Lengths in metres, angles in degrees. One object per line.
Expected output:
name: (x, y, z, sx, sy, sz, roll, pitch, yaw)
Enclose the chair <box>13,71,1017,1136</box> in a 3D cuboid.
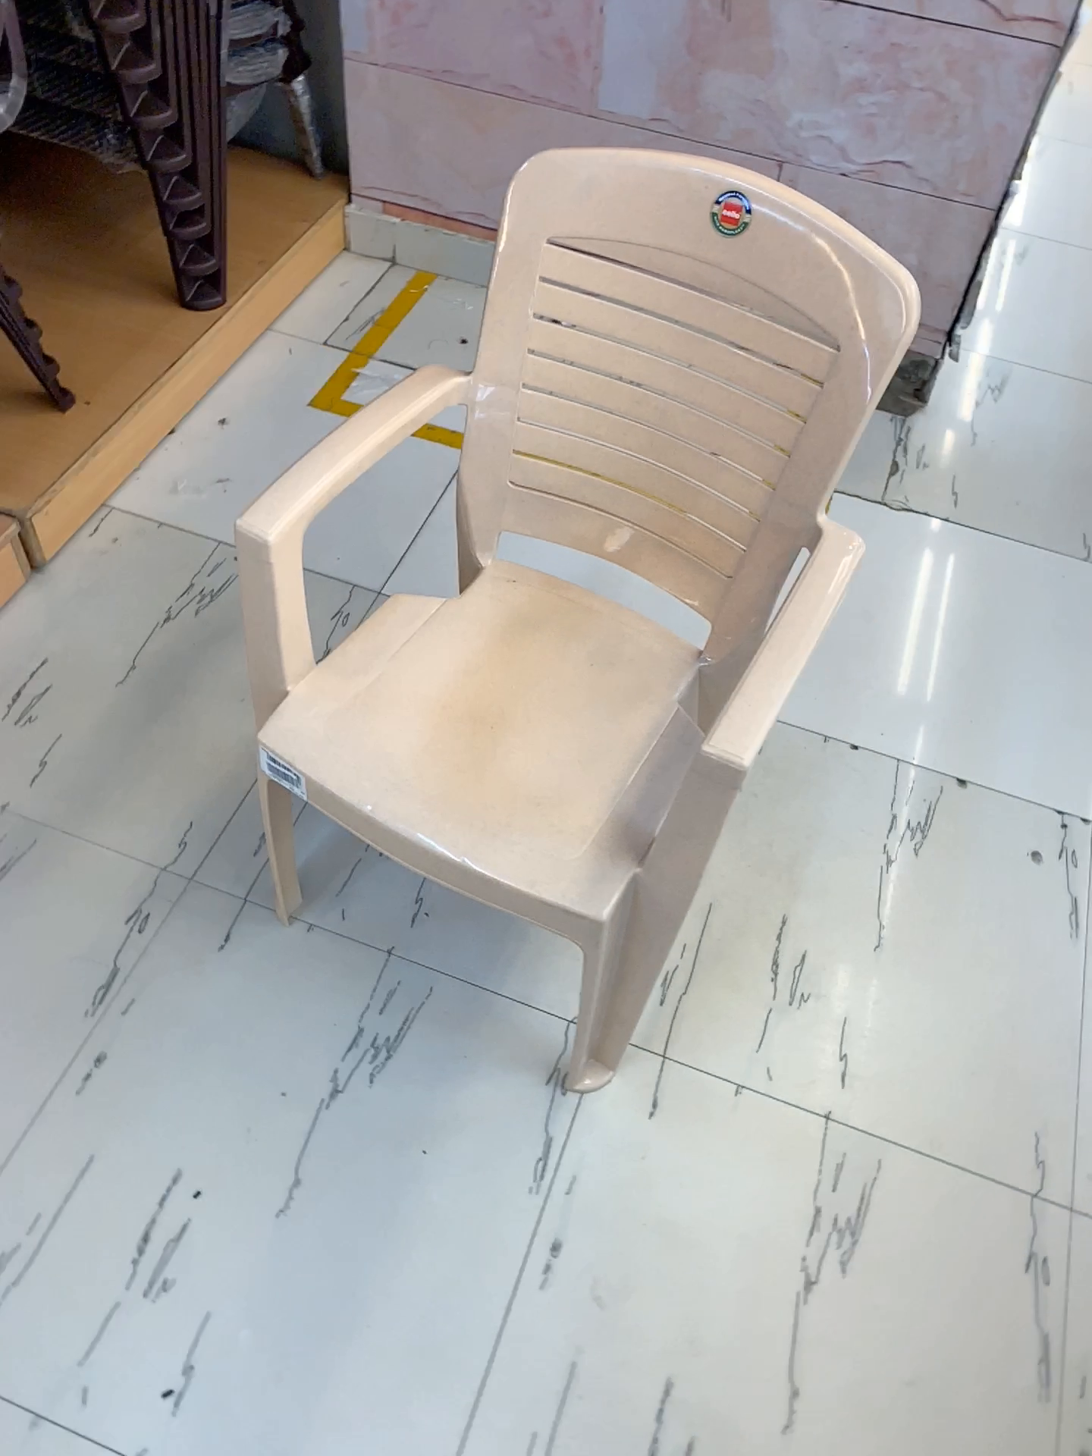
chair: (-0.003, -0.106, 1.193, 0.571, 0.774, 0.624, 25, 54, 14)
